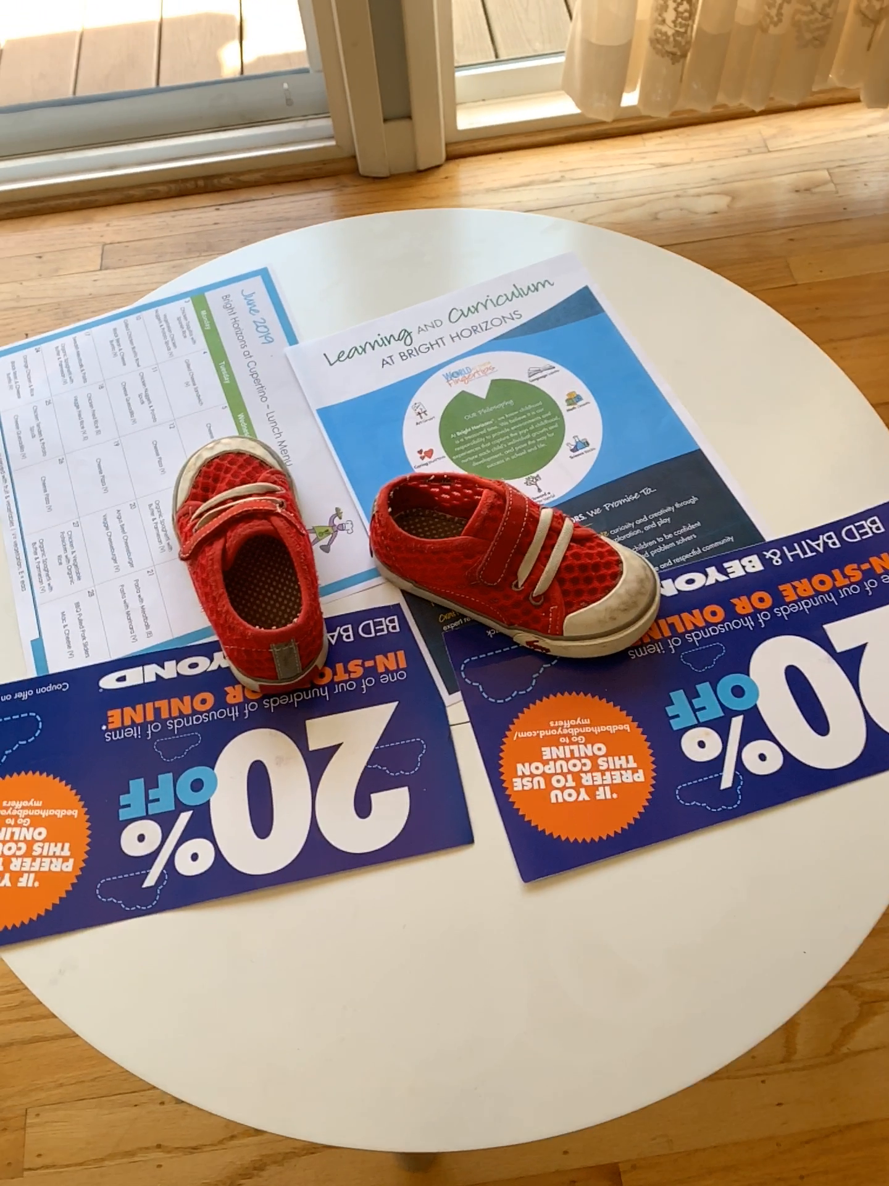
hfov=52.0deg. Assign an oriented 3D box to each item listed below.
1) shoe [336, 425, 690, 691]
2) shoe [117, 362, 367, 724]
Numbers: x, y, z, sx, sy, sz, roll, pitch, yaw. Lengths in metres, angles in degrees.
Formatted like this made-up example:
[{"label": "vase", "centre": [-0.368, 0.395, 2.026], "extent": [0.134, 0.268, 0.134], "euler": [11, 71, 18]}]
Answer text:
[{"label": "shoe", "centre": [0.039, -0.022, 0.540], "extent": [0.180, 0.070, 0.080], "euler": [20, 65, 14]}, {"label": "shoe", "centre": [-0.111, -0.030, 0.497], "extent": [0.080, 0.070, 0.170], "euler": [-19, 62, -7]}]
